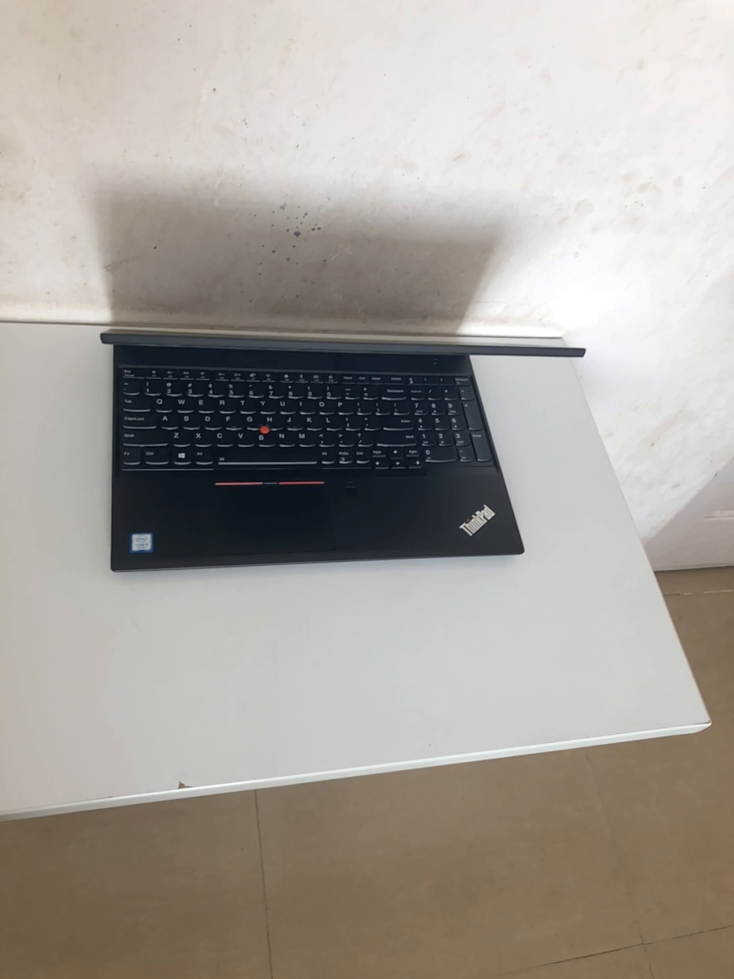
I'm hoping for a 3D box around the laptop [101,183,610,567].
[{"bbox_3d":[-0.031,-0.086,0.666,0.347,0.173,0.234,-1,58,-14],"label":"laptop"}]
